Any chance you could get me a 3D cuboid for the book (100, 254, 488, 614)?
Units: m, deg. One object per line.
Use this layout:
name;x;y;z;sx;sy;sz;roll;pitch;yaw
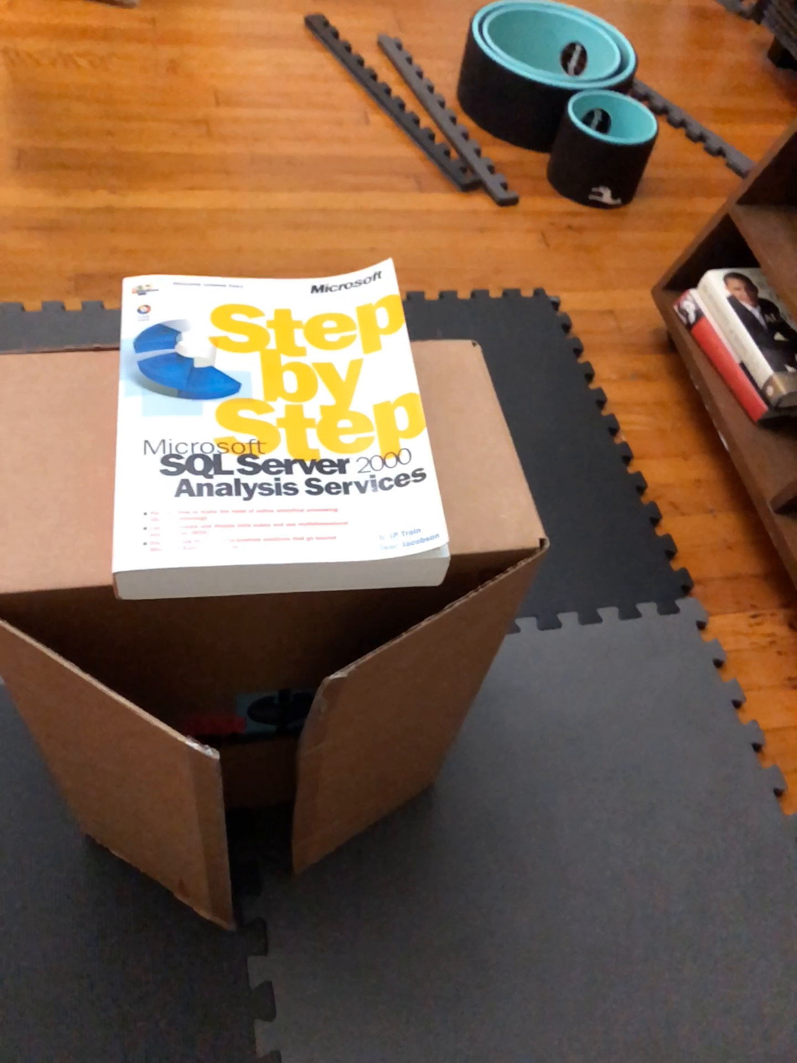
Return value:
book;-0.076;-0.077;0.565;0.200;0.050;0.241;-5;58;-18
